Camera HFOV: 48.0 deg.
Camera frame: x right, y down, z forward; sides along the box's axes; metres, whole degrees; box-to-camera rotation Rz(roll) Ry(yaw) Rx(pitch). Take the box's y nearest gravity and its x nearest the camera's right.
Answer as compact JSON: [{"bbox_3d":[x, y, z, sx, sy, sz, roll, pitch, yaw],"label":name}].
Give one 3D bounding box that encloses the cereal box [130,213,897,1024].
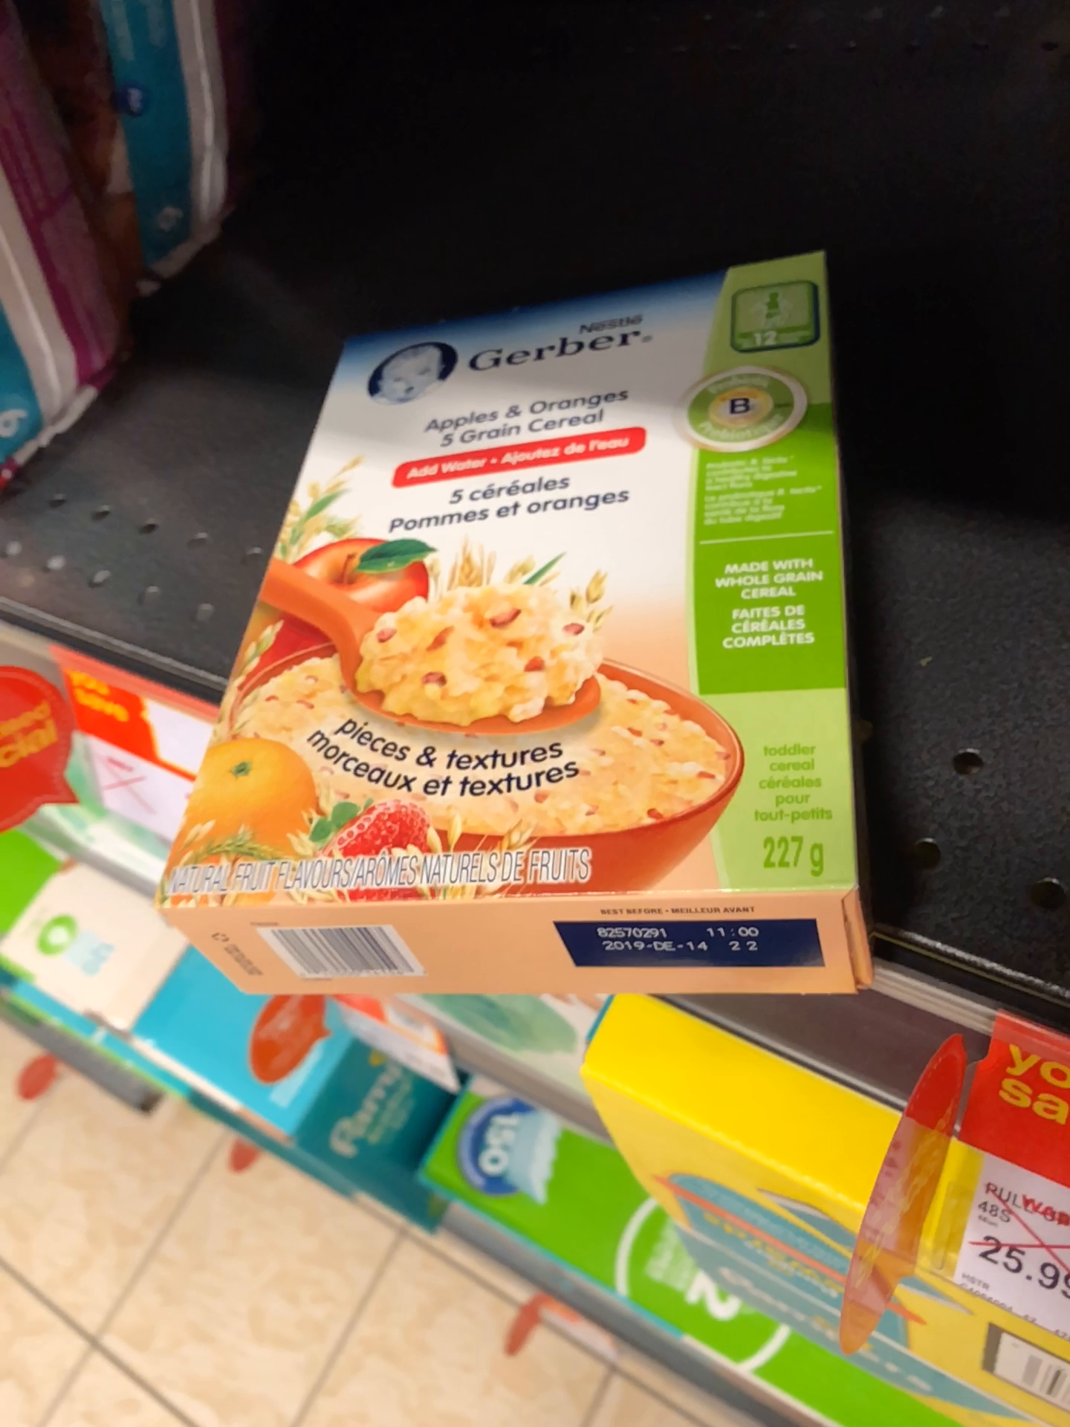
[{"bbox_3d":[0.007,-0.032,0.306,0.150,0.050,0.210,-4,53,17],"label":"cereal box"}]
